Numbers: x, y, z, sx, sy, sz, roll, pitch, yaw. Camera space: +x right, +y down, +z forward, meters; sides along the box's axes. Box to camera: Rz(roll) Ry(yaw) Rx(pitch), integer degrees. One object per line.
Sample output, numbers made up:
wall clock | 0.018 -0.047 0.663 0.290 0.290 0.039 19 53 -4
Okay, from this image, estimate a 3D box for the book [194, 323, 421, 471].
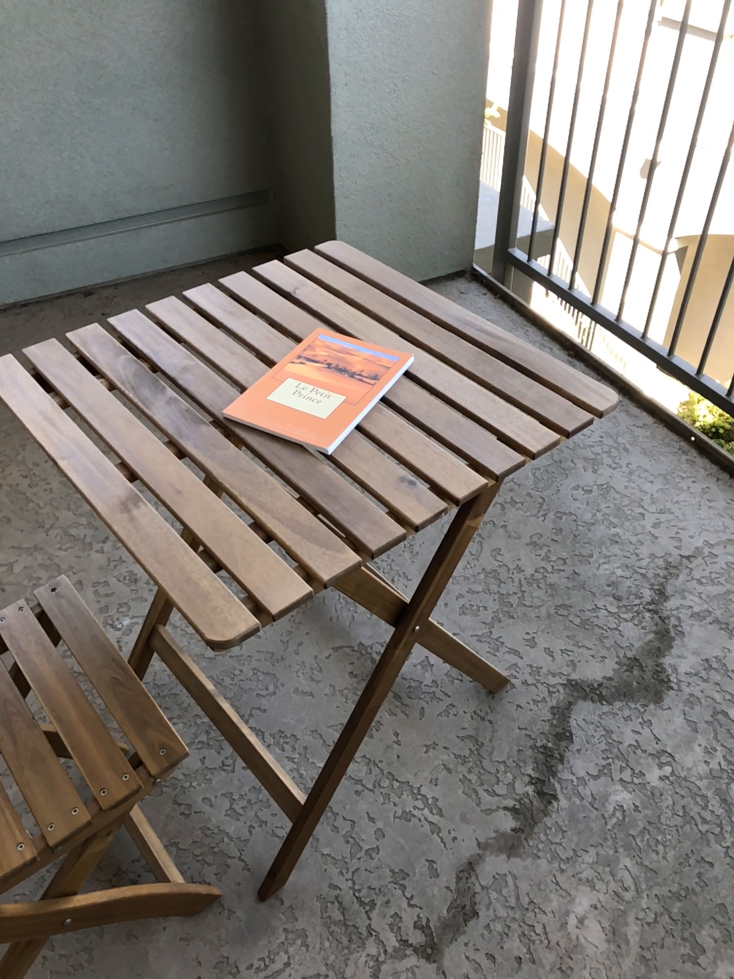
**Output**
book | -0.068 -0.128 1.025 0.180 0.010 0.251 20 46 22
